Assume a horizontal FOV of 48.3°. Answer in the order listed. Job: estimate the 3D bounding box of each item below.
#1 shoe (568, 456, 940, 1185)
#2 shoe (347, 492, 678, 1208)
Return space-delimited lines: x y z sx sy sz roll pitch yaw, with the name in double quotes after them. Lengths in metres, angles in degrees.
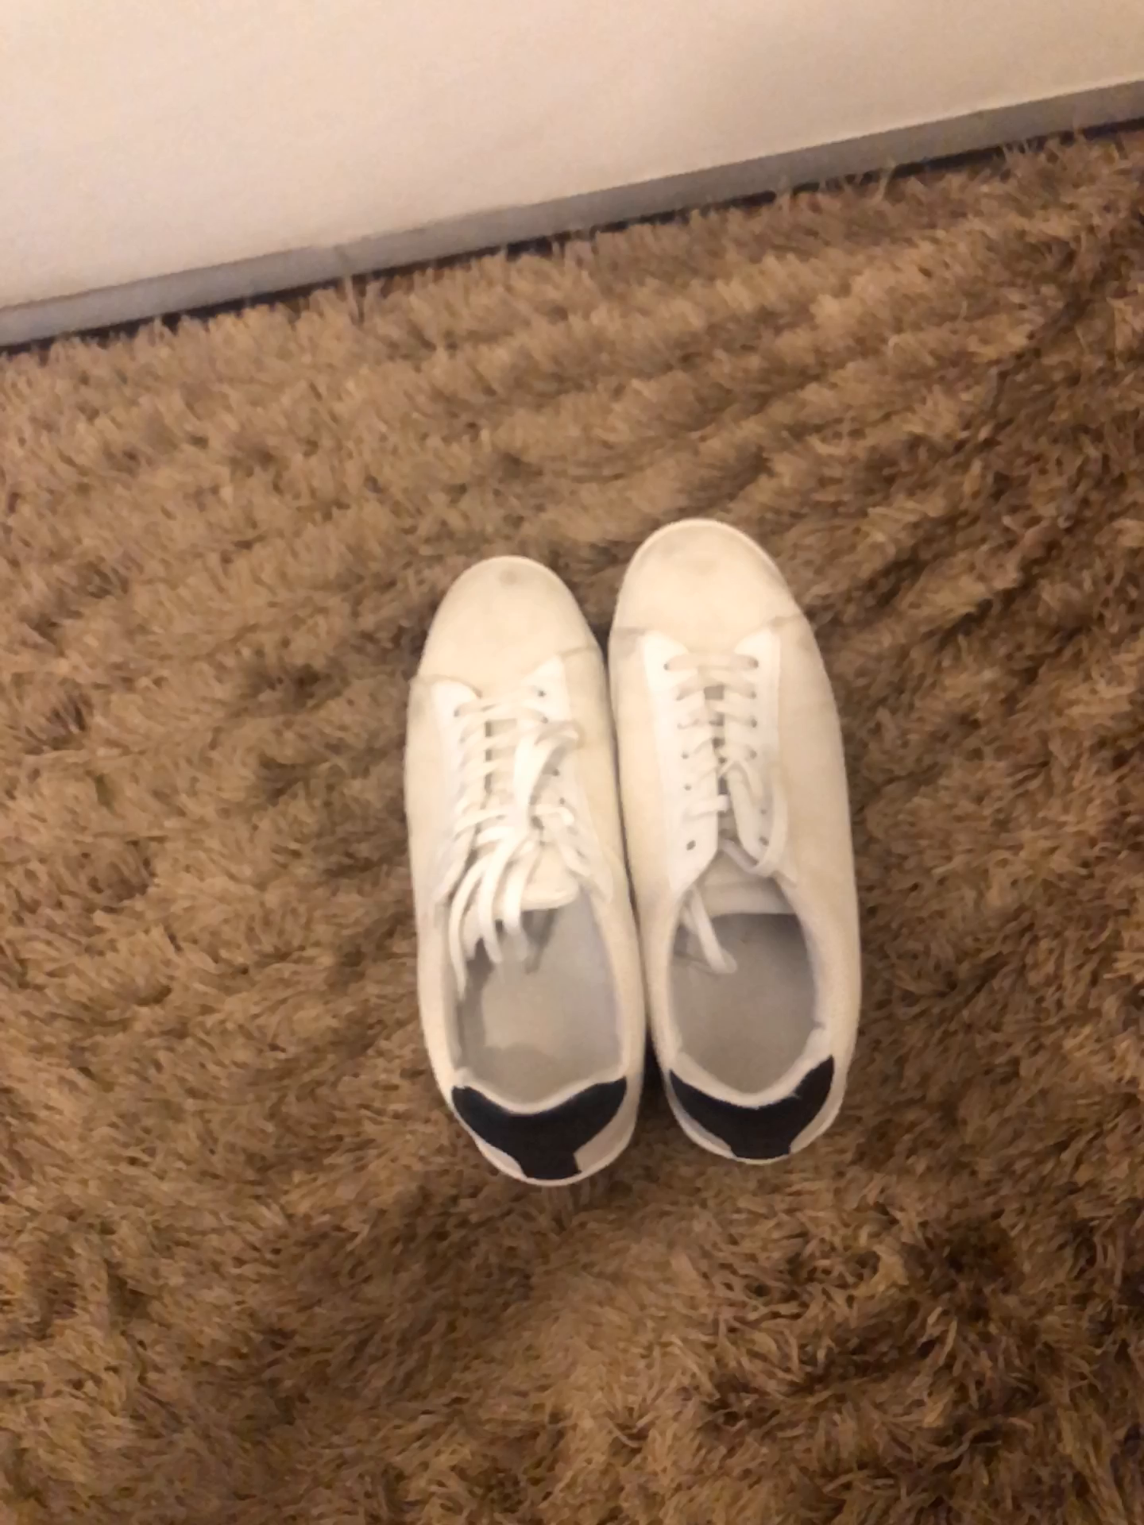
0.067 0.023 0.504 0.104 0.079 0.264 -7 73 8 "shoe"
-0.025 0.035 0.516 0.100 0.079 0.264 -8 73 7 "shoe"
